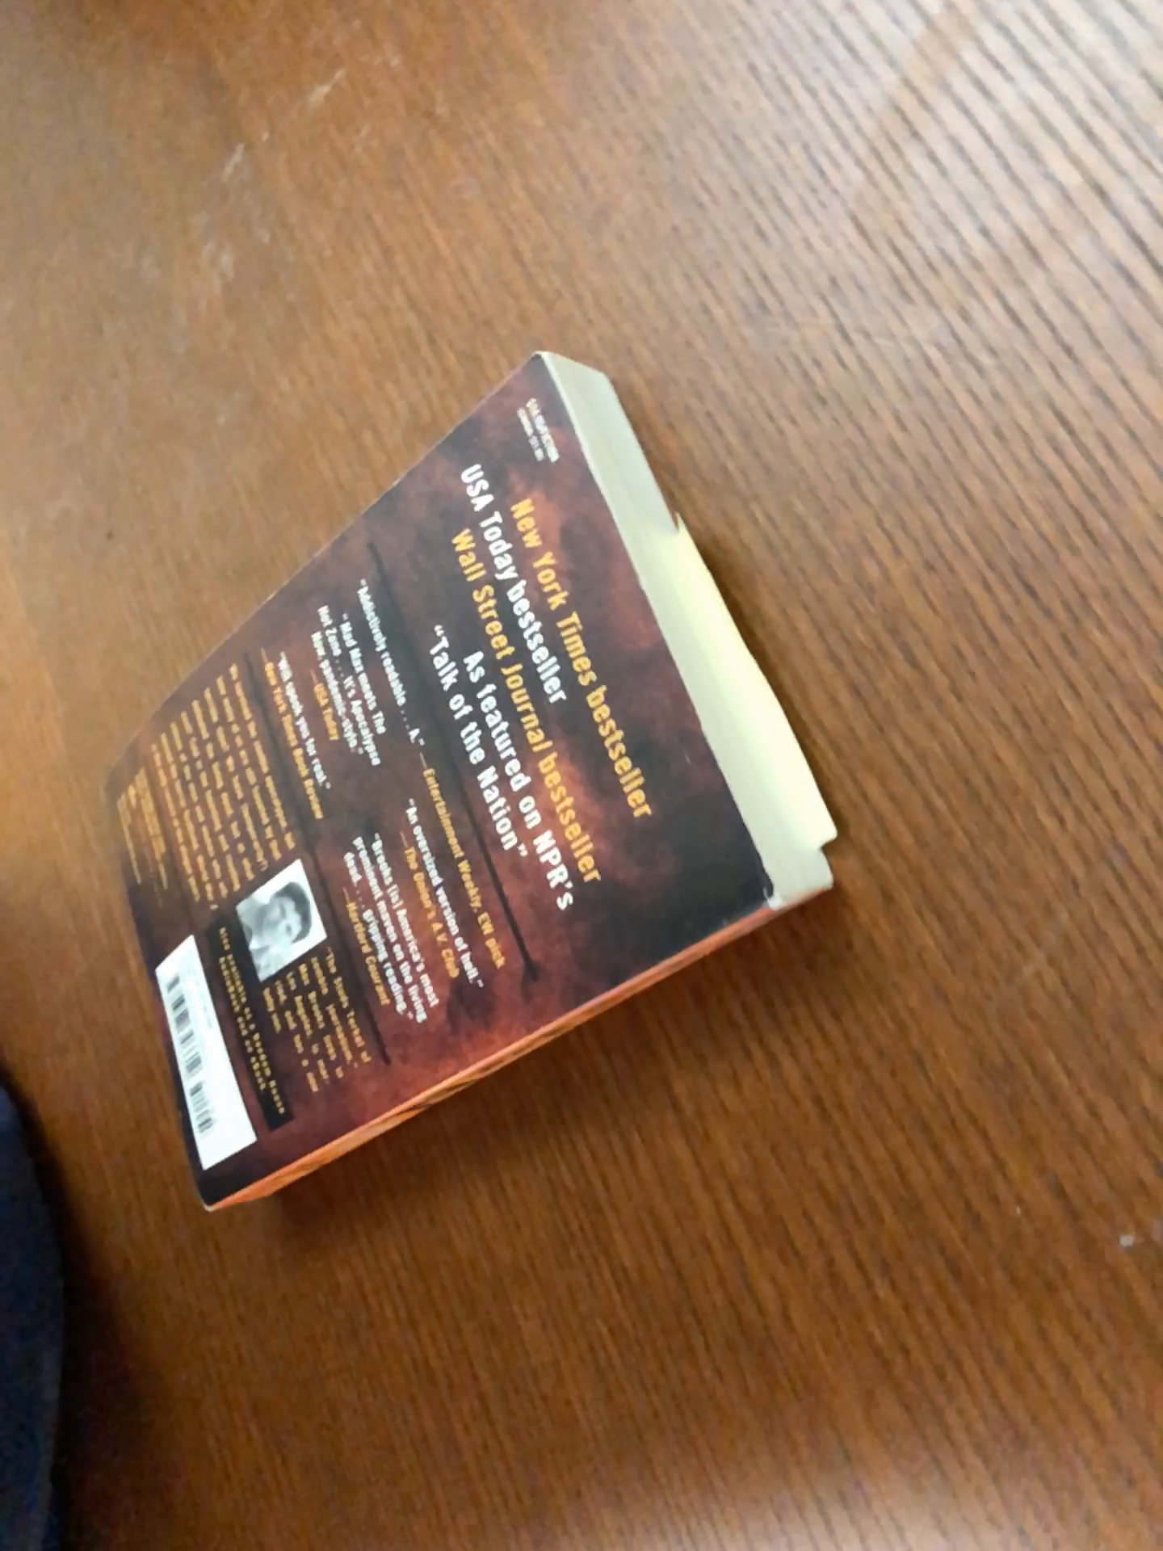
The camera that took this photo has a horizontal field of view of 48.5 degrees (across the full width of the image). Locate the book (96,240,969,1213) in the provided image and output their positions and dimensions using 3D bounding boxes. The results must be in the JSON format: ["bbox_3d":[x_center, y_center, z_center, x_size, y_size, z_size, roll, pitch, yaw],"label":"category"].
[{"bbox_3d":[-0.037,0.004,0.314,0.221,0.030,0.140,-33,67,34],"label":"book"}]
